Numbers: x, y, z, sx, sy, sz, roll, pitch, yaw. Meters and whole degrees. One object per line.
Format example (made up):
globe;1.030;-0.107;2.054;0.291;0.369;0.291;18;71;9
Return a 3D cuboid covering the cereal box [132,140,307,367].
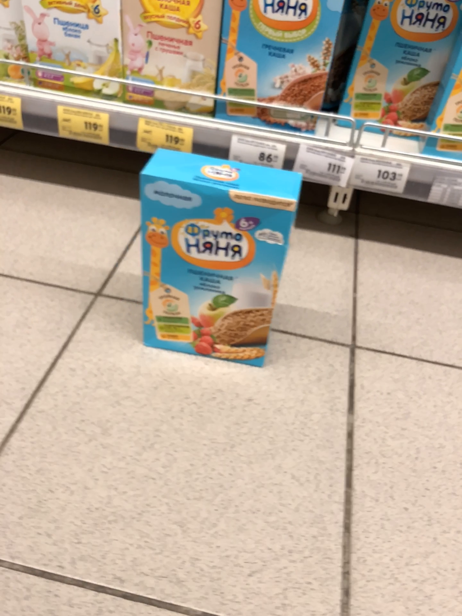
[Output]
cereal box;-0.016;-0.044;0.499;0.140;0.199;0.060;10;41;3
